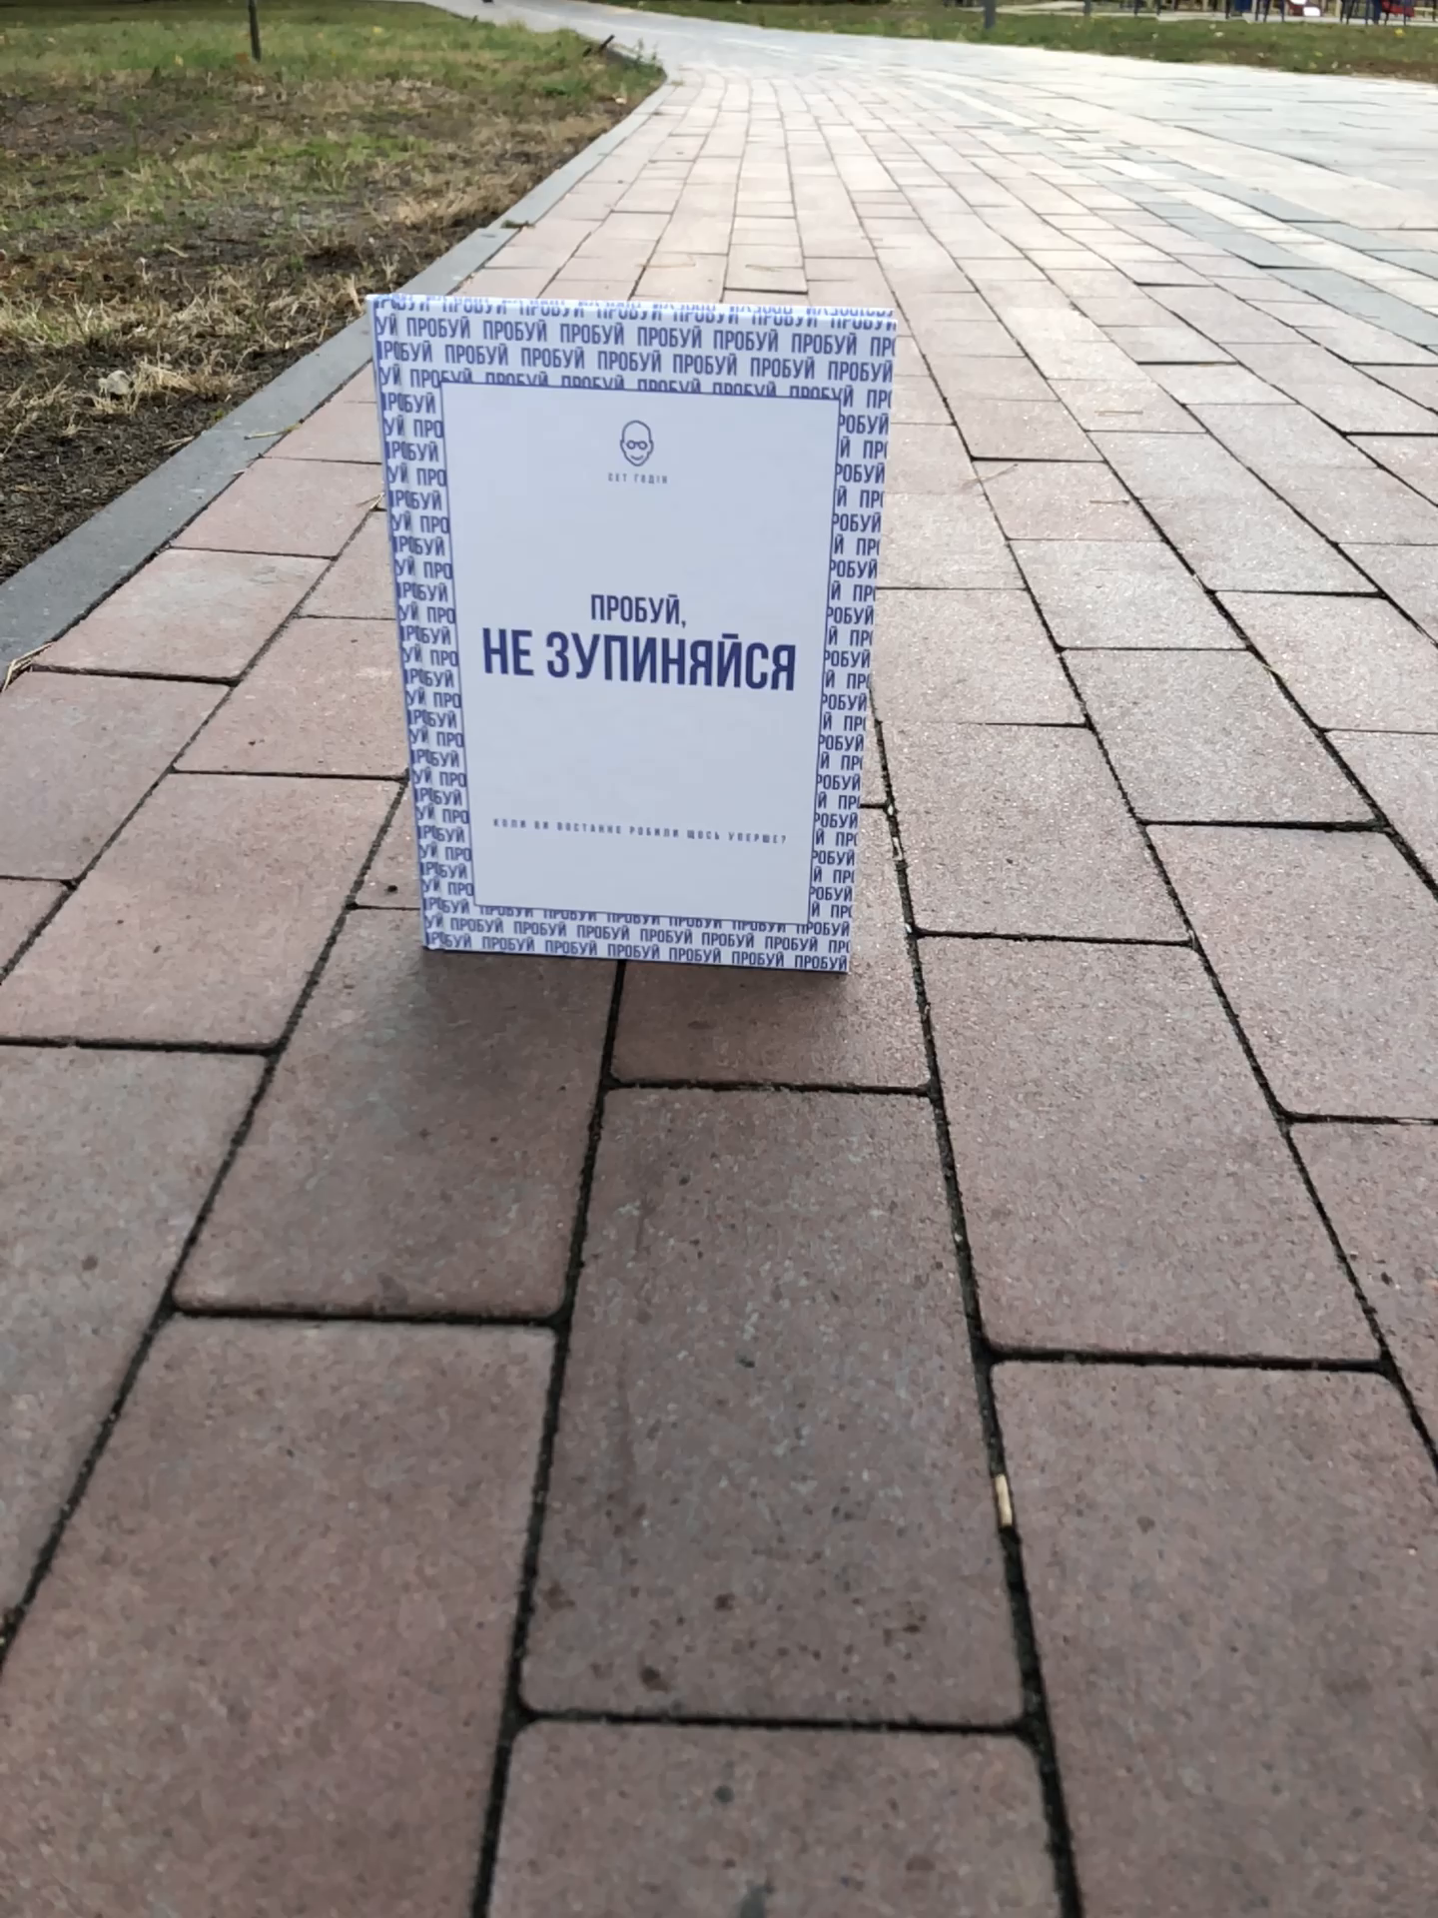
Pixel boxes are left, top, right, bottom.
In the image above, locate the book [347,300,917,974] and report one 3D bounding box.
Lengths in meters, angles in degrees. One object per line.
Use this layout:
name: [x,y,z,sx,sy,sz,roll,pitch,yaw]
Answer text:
book: [-0.025,-0.089,0.473,0.151,0.196,0.023,2,29,2]
